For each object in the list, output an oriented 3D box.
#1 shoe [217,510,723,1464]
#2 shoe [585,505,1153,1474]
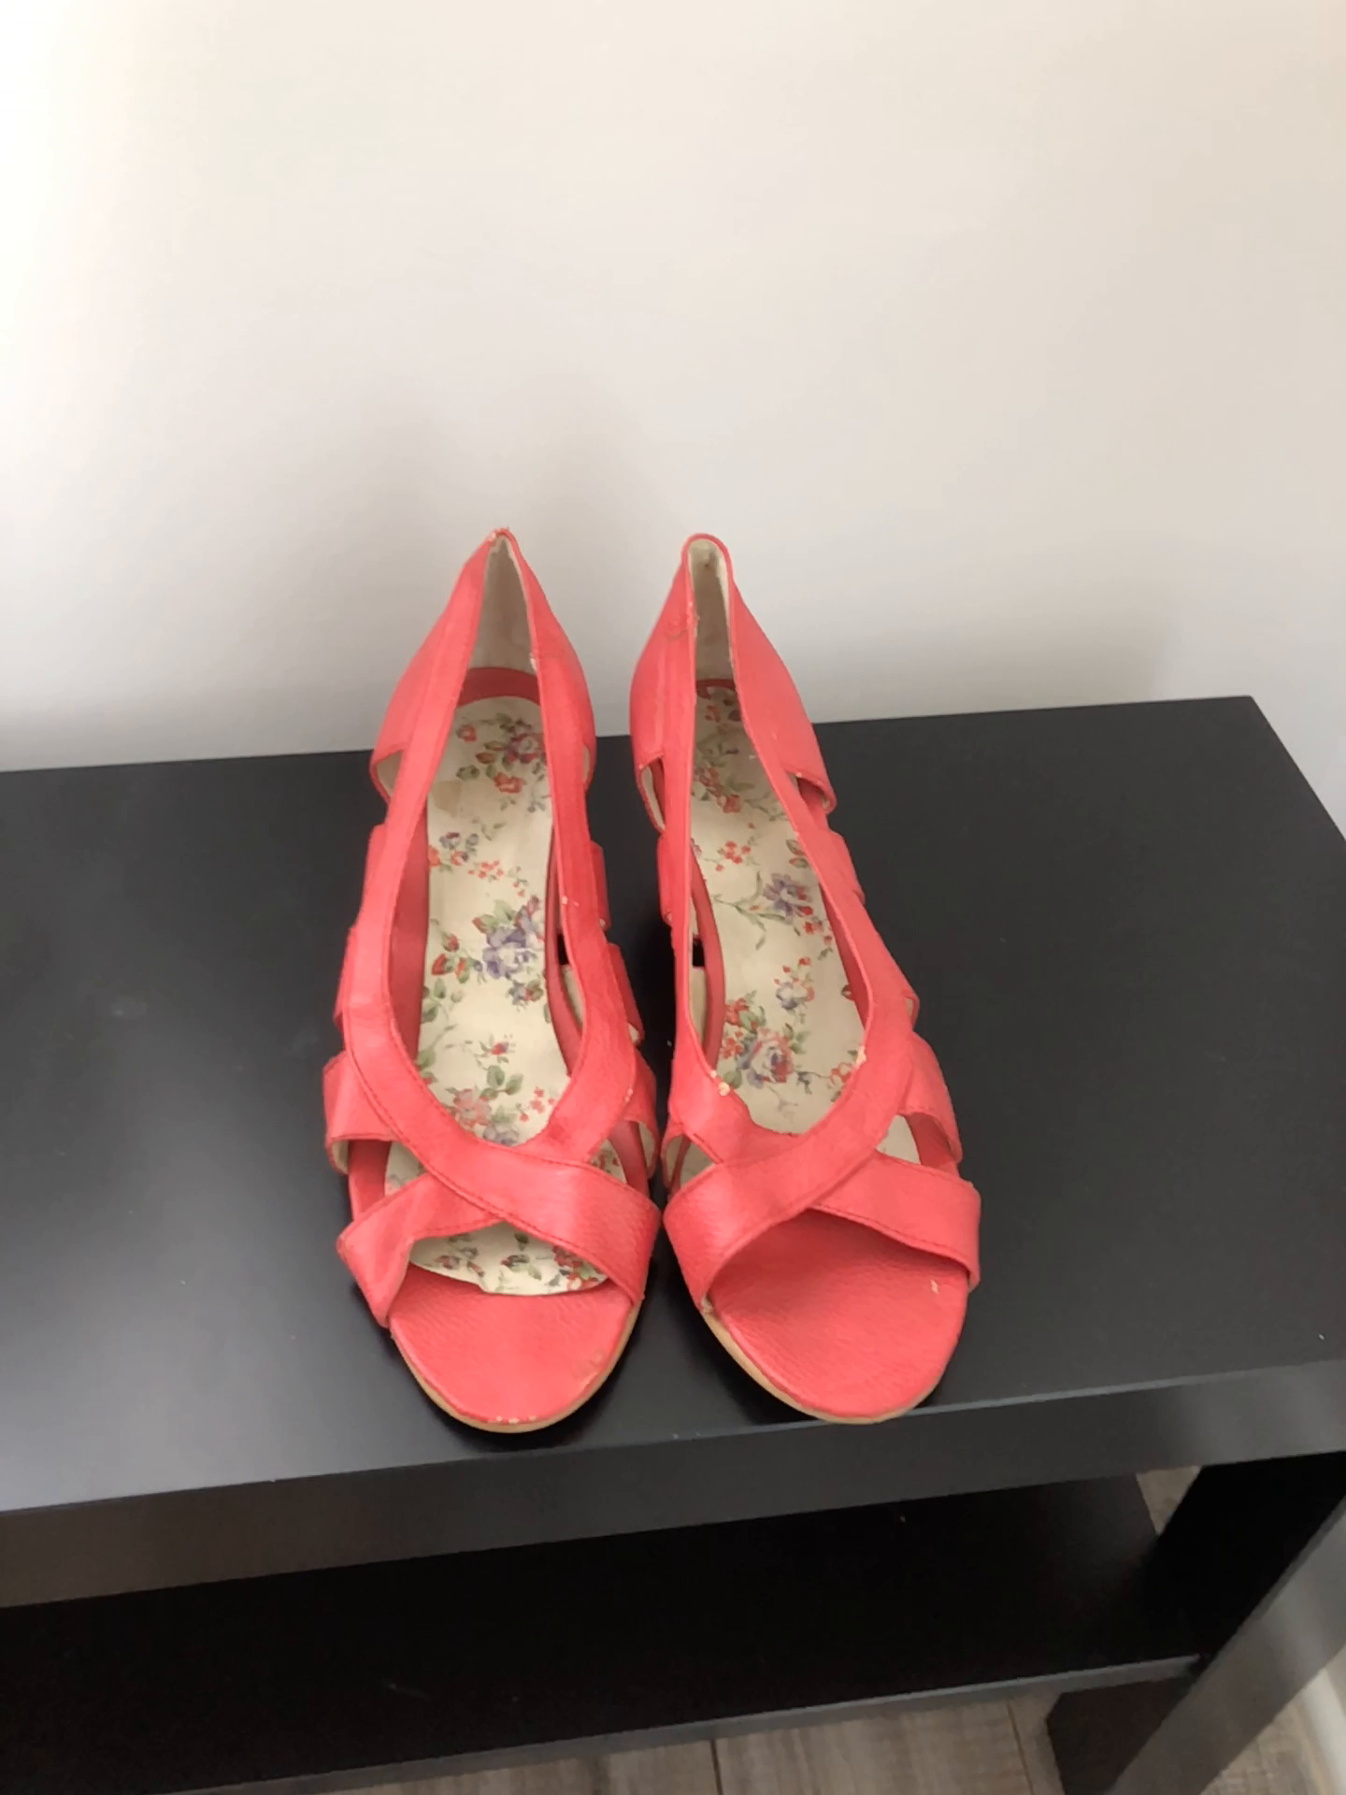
[{"bbox_3d":[-0.052,0.007,0.370,0.087,0.100,0.221,-5,45,-7],"label":"shoe"},{"bbox_3d":[0.029,0.007,0.376,0.077,0.100,0.231,-5,45,-7],"label":"shoe"}]
